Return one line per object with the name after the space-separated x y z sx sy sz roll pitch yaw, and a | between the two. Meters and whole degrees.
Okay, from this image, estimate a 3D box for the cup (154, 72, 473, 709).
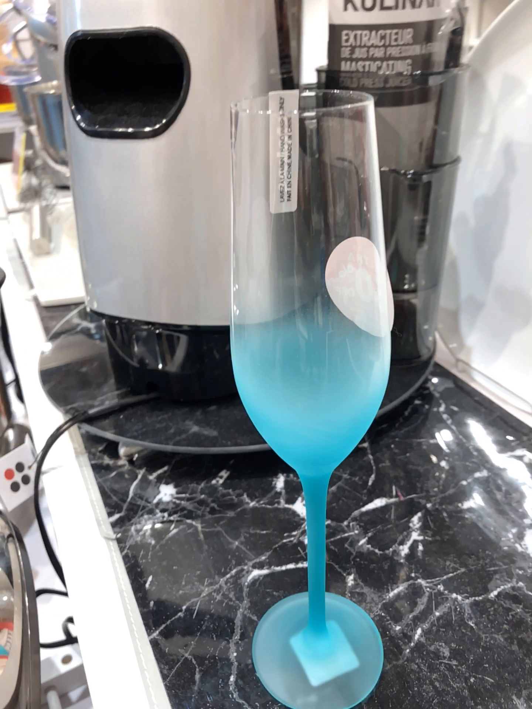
0.014 0.033 0.219 0.070 0.239 0.070 -2 29 1 | cup
